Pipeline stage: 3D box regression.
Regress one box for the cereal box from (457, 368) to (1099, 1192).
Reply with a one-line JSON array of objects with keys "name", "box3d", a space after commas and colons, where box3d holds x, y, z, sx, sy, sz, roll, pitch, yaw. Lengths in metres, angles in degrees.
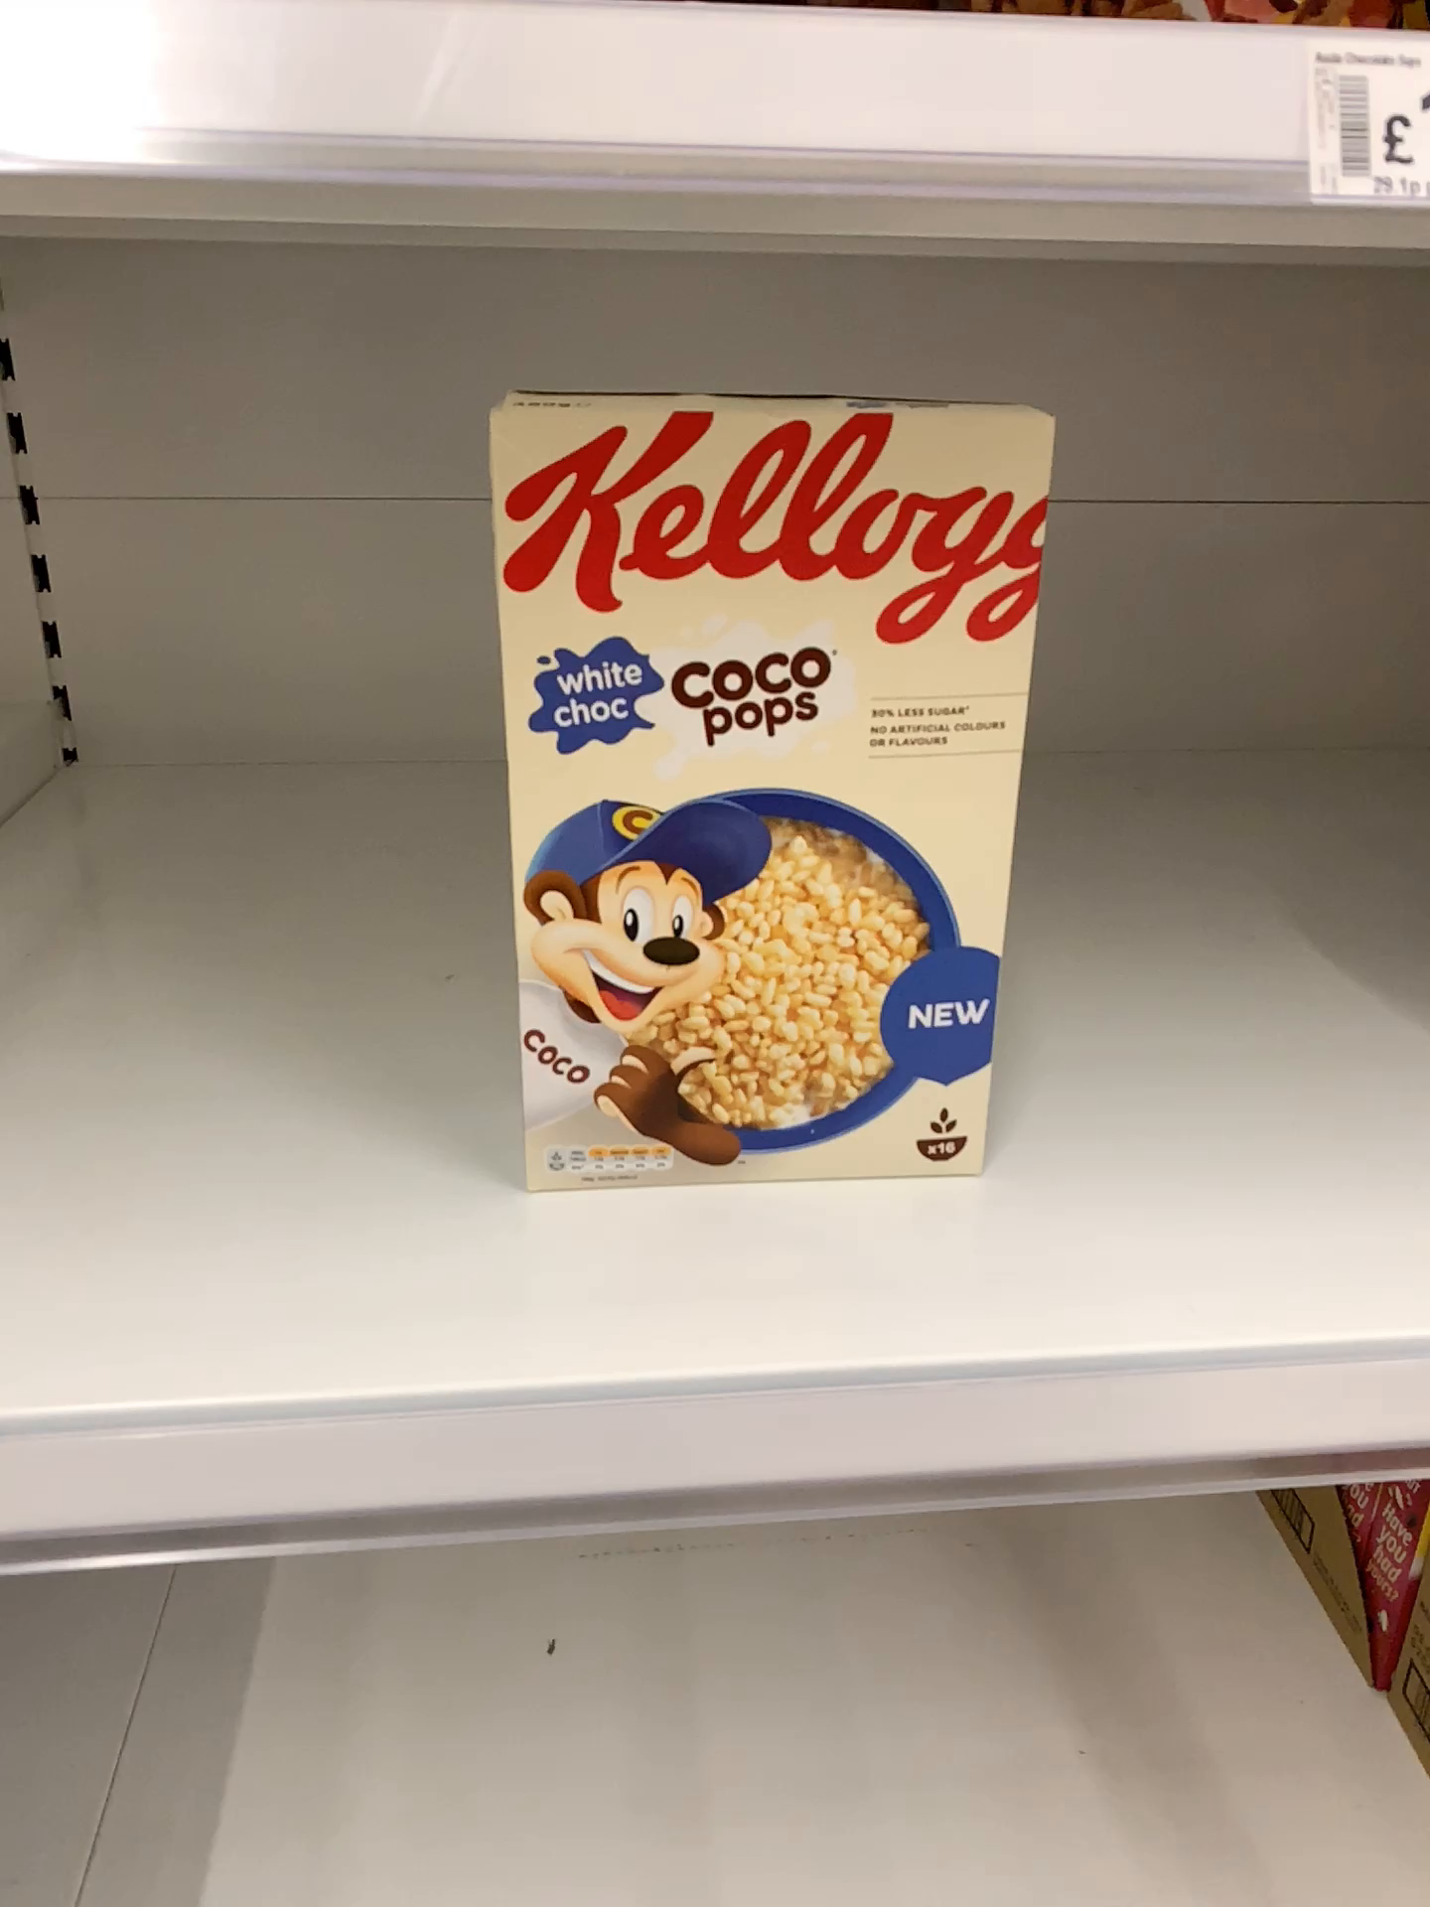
[{"name": "cereal box", "box3d": [0.021, -0.063, 0.559, 0.210, 0.298, 0.071, -2, 21, -5]}]
